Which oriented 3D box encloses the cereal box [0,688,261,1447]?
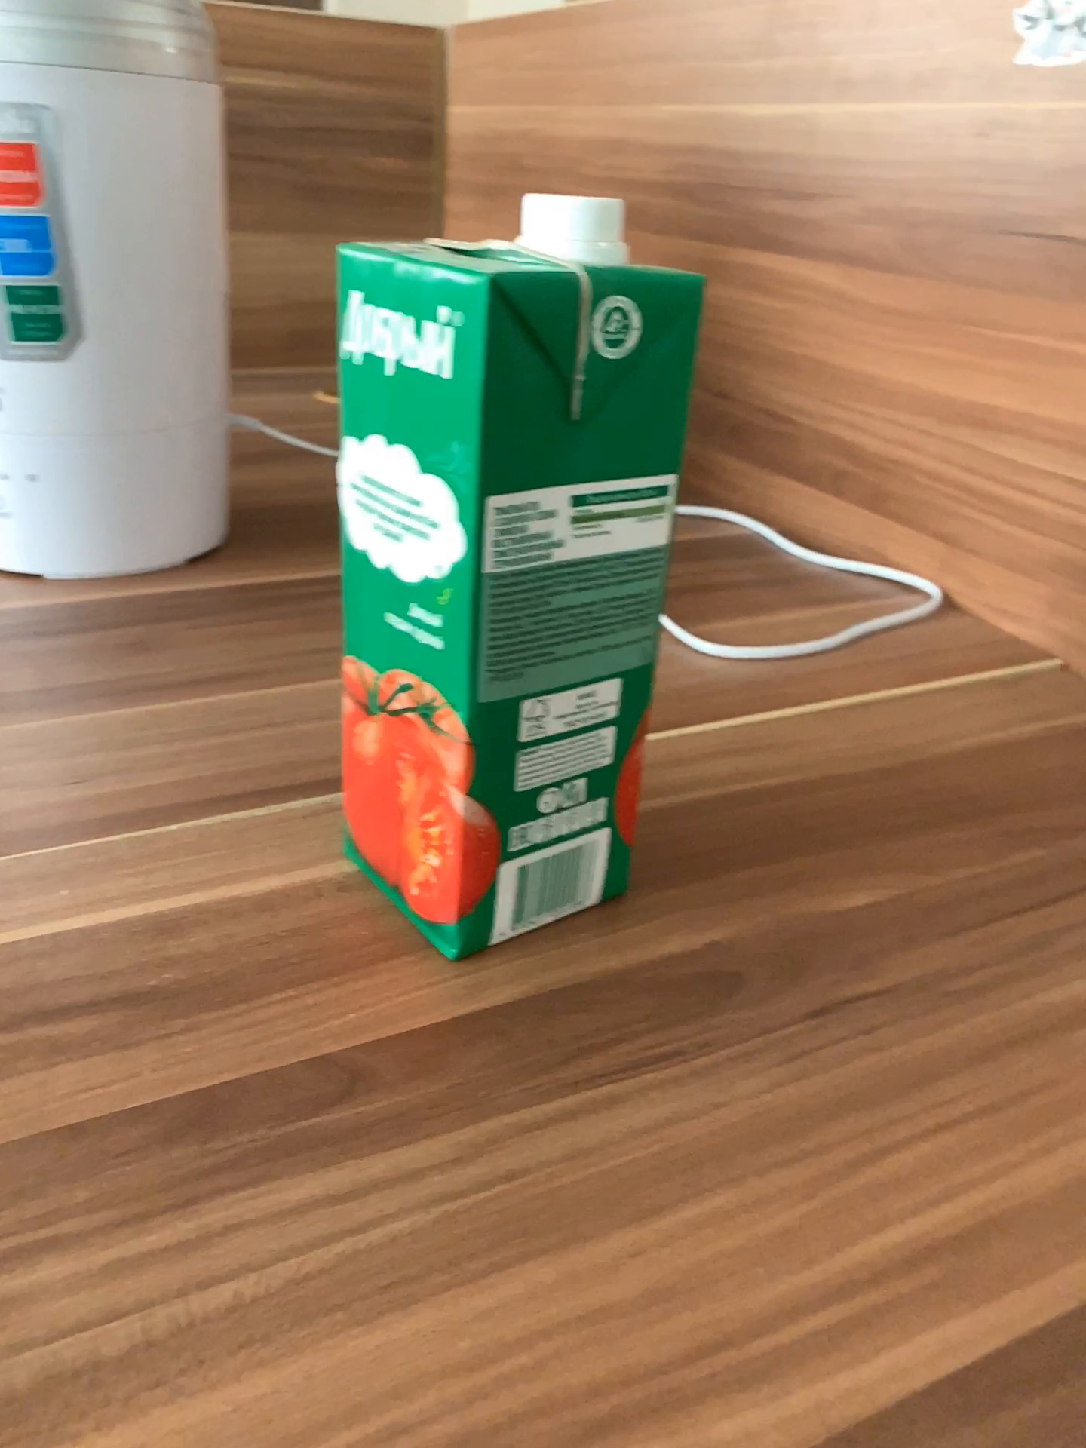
[{"bbox_3d":[-0.548,0.545,0.379,0.590,0.836,0.613,14,28,20],"label":"cereal box"}]
